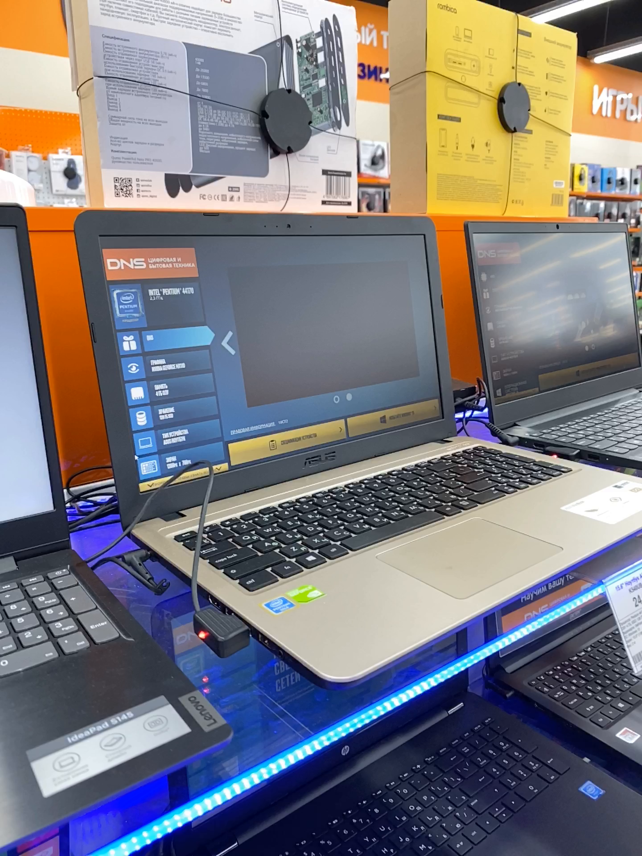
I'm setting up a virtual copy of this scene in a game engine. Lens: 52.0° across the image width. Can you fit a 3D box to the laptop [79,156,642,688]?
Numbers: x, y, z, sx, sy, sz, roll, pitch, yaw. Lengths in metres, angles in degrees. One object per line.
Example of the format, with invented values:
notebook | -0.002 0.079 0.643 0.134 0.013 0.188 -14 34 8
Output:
laptop | 0.064 -0.050 0.503 0.376 0.230 0.294 -11 17 -36
